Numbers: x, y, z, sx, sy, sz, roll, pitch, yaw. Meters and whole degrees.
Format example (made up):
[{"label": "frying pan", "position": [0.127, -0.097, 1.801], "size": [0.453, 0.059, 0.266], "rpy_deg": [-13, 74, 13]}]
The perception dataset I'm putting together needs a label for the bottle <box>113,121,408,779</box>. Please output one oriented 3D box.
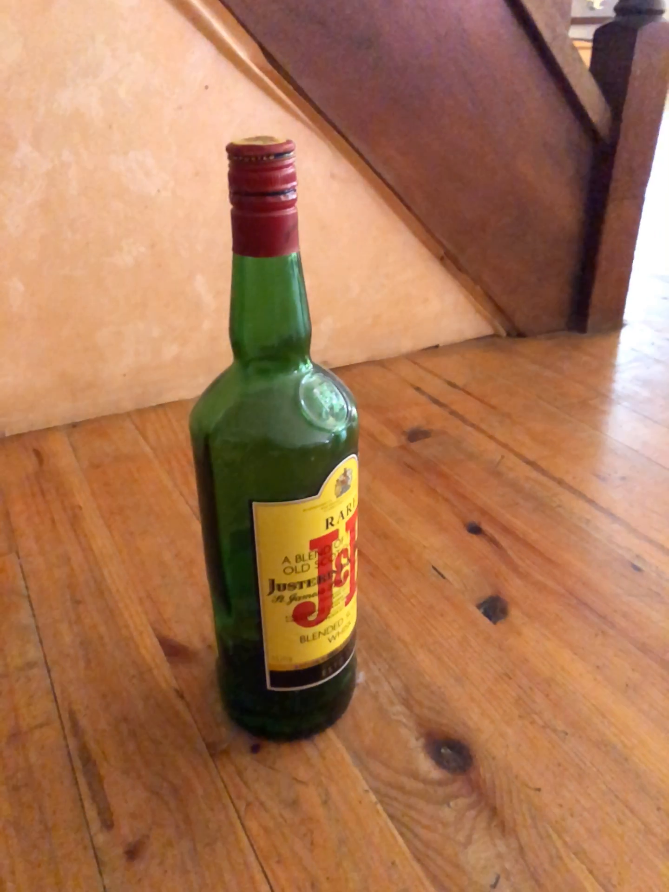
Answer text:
[{"label": "bottle", "position": [-0.028, 0.013, 0.377], "size": [0.080, 0.318, 0.091], "rpy_deg": [20, 35, 32]}]
